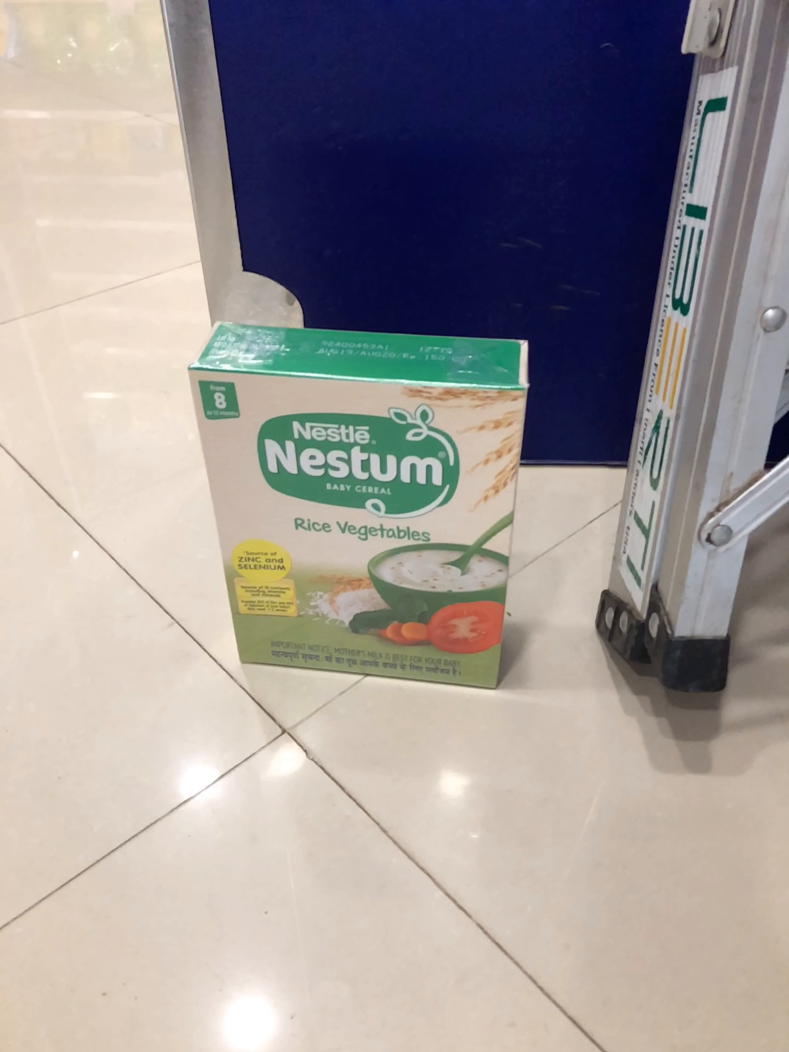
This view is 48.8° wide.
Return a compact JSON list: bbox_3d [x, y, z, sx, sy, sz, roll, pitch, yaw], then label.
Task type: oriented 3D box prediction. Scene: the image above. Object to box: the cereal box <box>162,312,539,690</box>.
[{"bbox_3d":[-0.016,-0.006,0.443,0.160,0.189,0.050,4,39,6],"label":"cereal box"}]
